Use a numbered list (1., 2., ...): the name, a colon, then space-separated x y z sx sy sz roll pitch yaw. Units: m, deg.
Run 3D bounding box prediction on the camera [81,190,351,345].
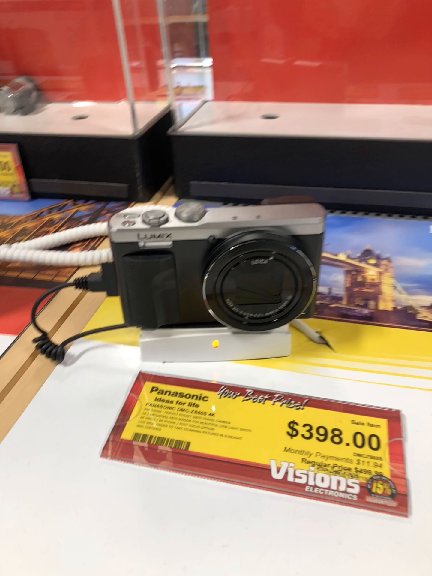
1. camera: 0.001 -0.010 0.245 0.120 0.060 0.040 -4 34 0
